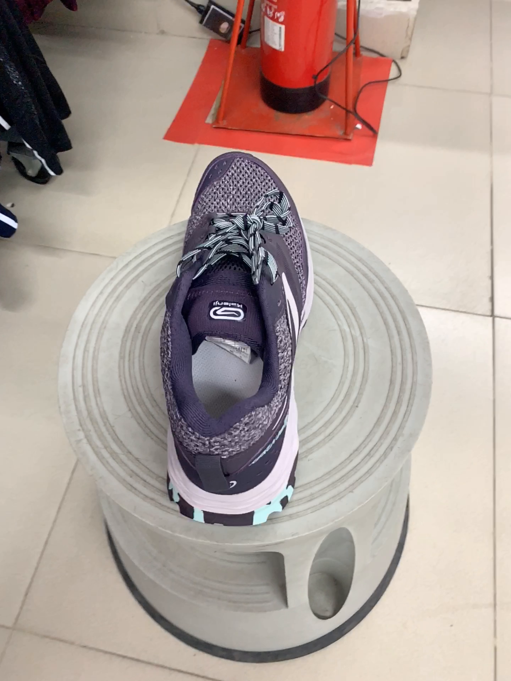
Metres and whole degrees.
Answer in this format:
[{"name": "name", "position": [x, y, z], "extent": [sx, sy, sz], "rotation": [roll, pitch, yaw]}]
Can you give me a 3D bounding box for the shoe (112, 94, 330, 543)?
[{"name": "shoe", "position": [-0.007, -0.026, 0.359], "extent": [0.100, 0.110, 0.290], "rotation": [2, 60, 3]}]
